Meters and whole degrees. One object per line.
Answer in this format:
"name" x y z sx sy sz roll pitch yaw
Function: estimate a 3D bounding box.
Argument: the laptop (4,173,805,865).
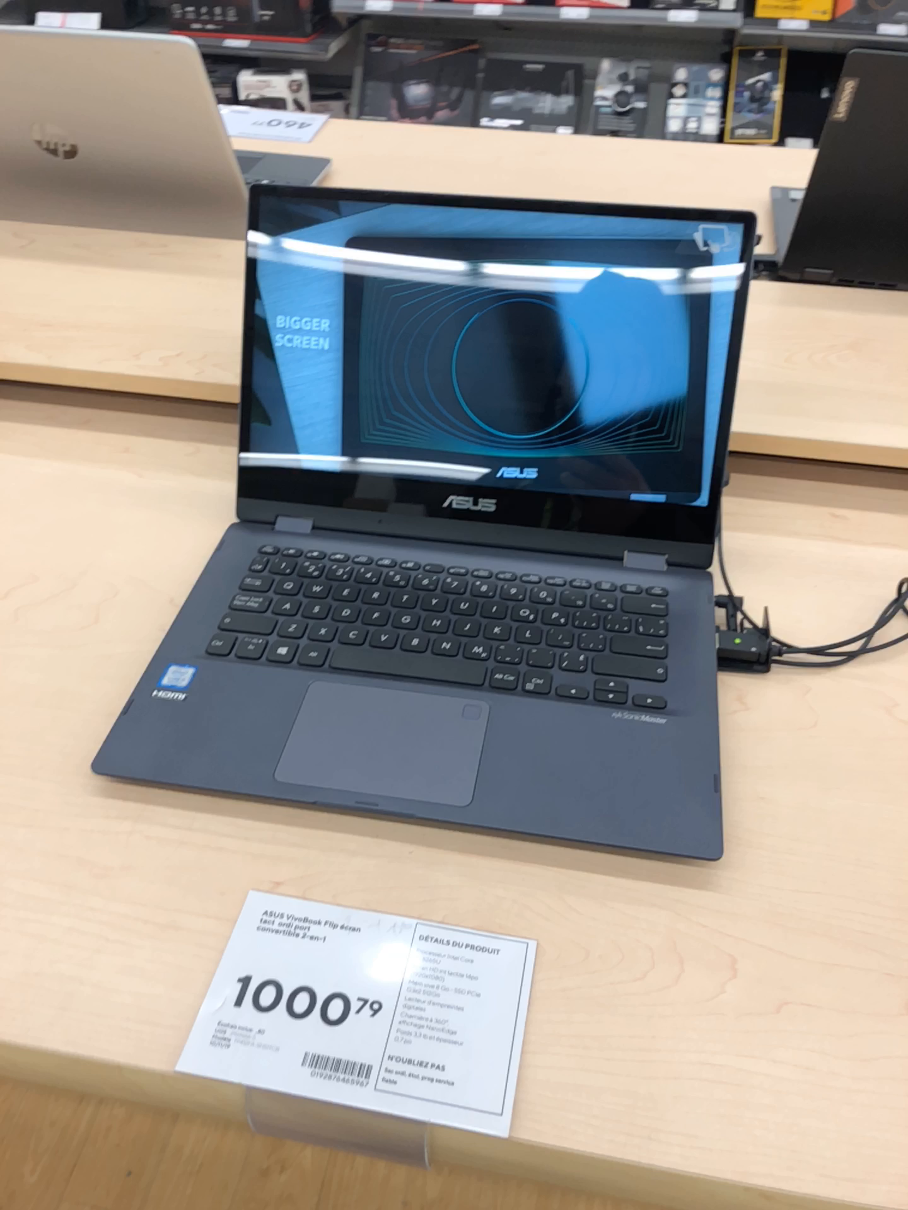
"laptop" -0.003 -0.077 0.568 0.320 0.184 0.332 7 44 7
